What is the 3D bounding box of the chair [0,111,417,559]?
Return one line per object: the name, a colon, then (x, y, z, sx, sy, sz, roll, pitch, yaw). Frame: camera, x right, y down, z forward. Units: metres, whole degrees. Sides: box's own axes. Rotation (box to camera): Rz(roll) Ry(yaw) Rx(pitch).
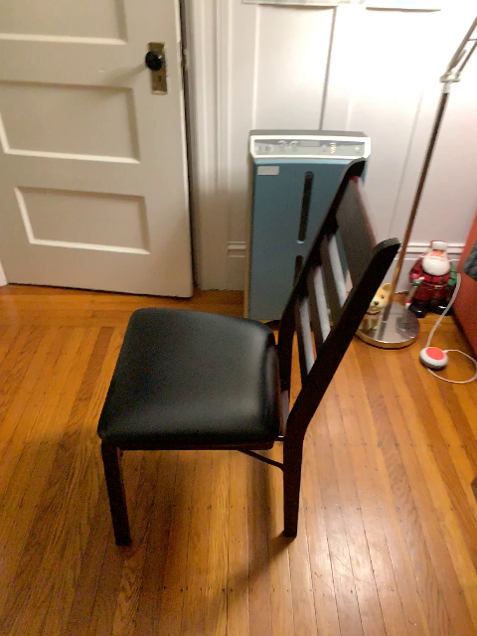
chair: (-0.064, 0.075, 1.072, 0.550, 0.865, 0.493, 0, 39, -2)
